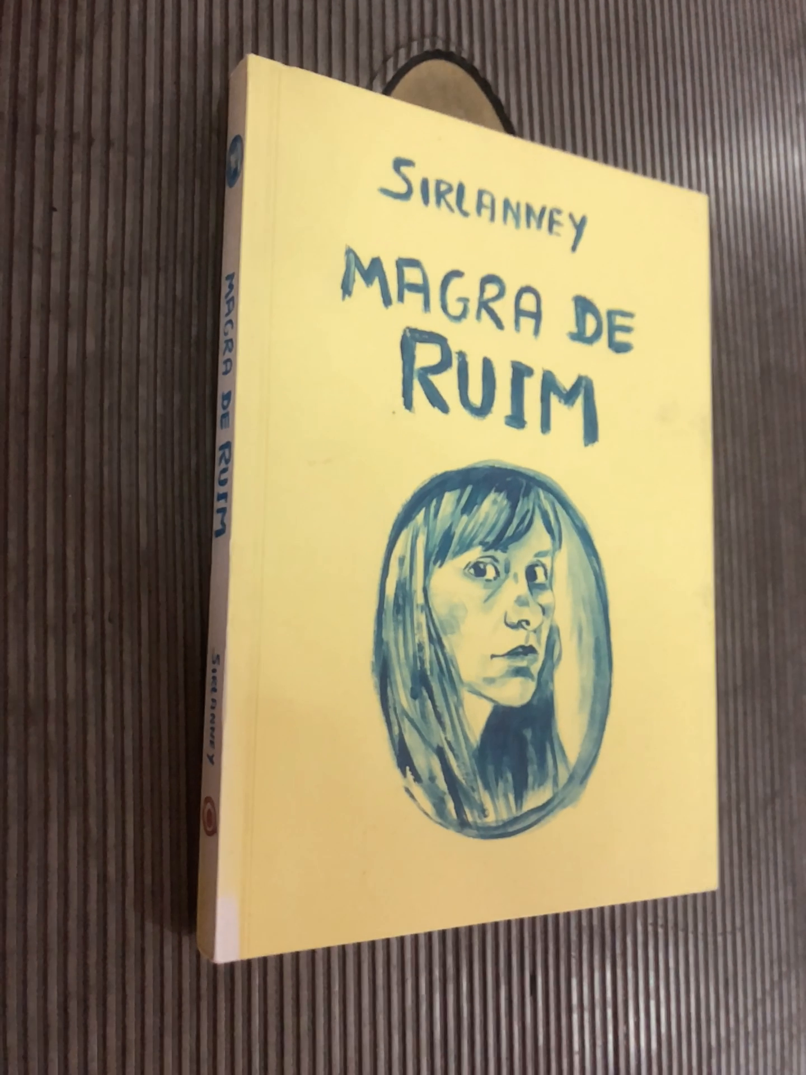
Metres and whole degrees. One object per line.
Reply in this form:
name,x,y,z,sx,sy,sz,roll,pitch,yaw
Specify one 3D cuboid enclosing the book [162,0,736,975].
book,0.023,-0.011,0.232,0.151,0.020,0.210,5,84,-26
